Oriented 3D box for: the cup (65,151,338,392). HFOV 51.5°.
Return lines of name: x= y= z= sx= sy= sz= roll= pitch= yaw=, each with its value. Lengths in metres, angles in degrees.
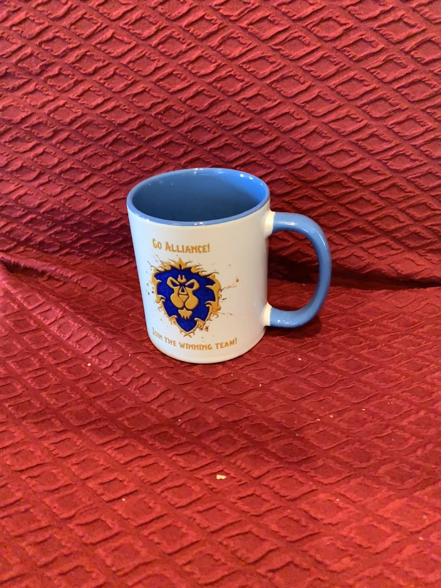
cup: x=-0.001 y=-0.021 z=0.284 sx=0.130 sy=0.099 sz=0.101 roll=6 pitch=36 yaw=13
